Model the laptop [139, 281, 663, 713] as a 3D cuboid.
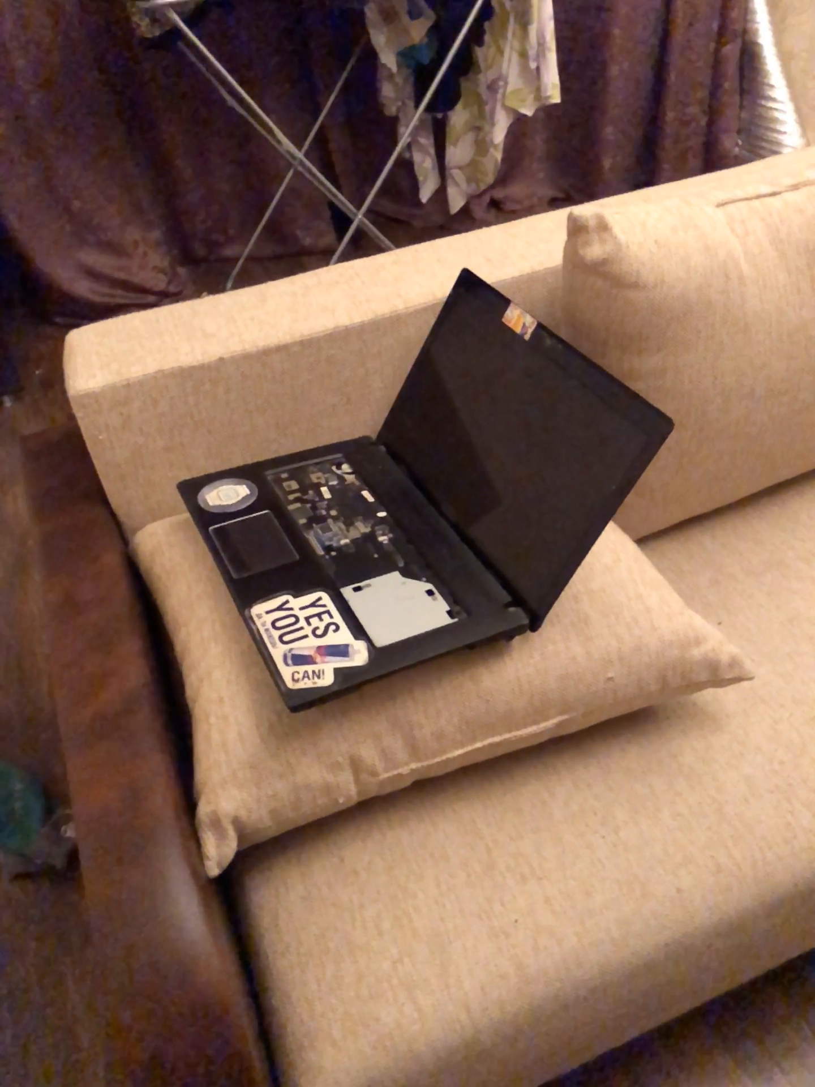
[{"bbox_3d":[-0.024,-0.086,1.006,0.408,0.198,0.414,-18,43,-18],"label":"laptop"}]
